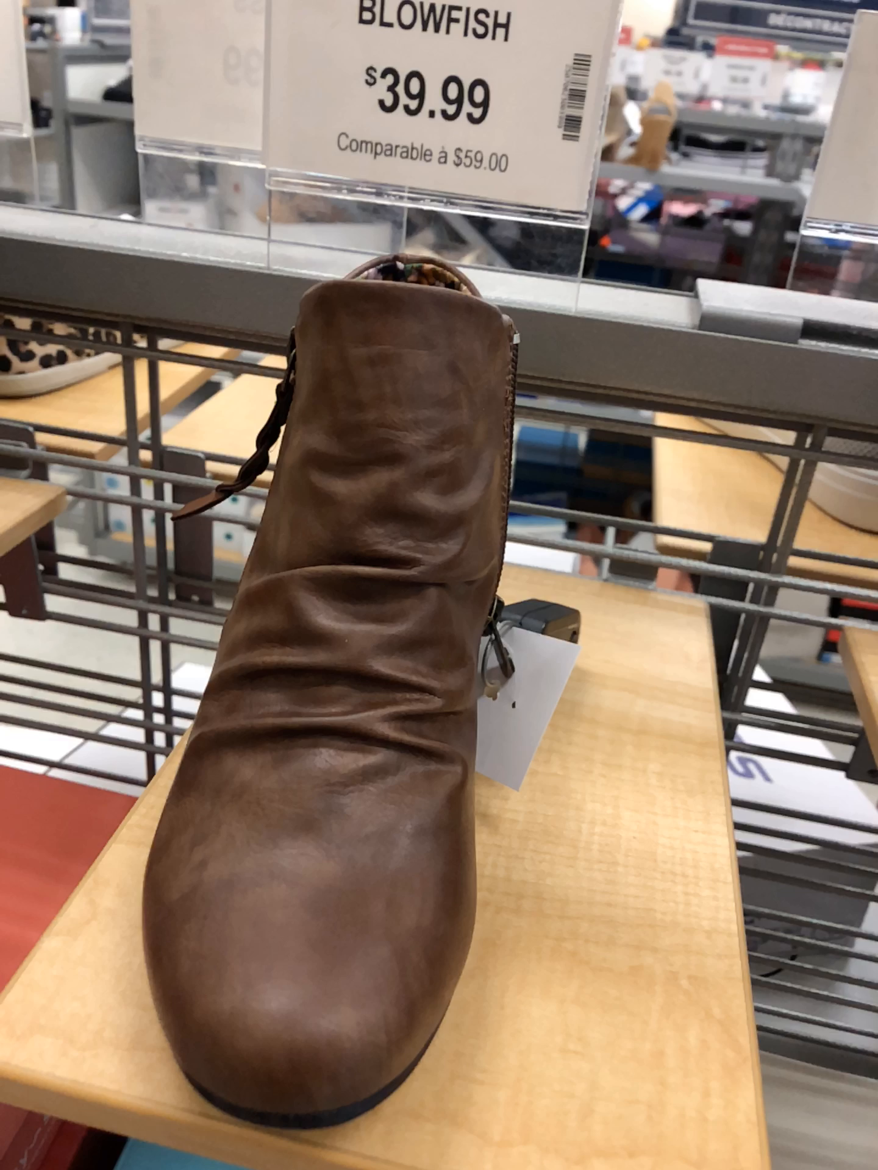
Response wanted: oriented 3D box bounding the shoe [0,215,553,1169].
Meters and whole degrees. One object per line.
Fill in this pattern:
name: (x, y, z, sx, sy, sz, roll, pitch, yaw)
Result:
shoe: (-0.026, -0.003, 0.258, 0.090, 0.139, 0.232, 8, 29, 2)
